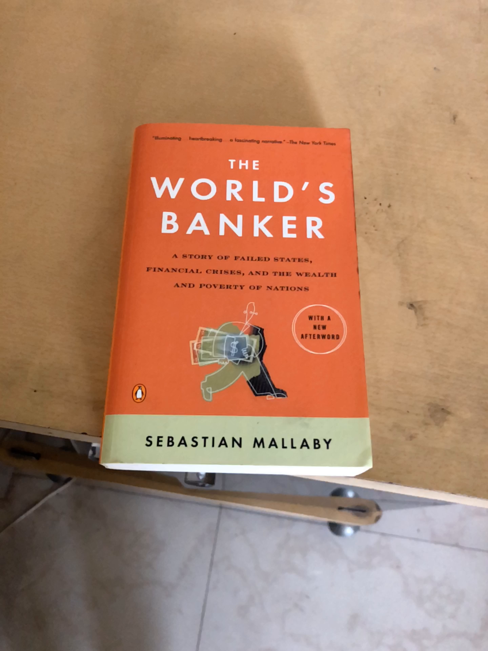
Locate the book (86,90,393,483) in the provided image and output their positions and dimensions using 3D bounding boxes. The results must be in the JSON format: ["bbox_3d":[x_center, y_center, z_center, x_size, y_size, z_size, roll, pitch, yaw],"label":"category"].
[{"bbox_3d":[0.001,-0.030,0.302,0.140,0.030,0.220,2,69,-2],"label":"book"}]
